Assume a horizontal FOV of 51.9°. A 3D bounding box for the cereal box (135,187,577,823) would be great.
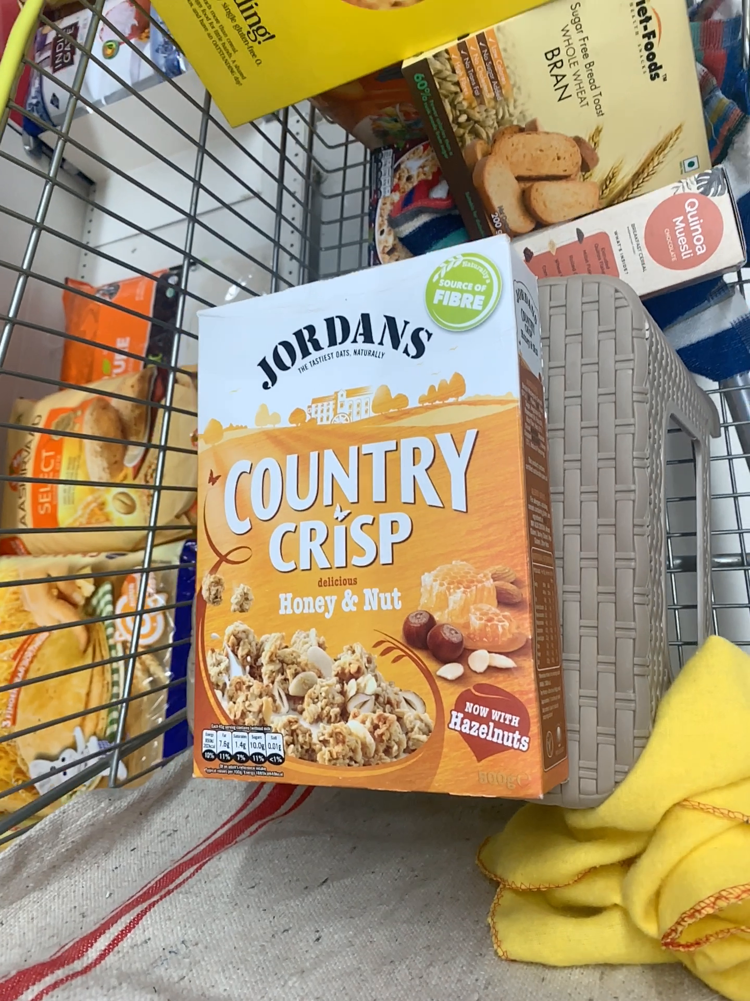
[{"bbox_3d":[-0.014,0.008,0.383,0.191,0.080,0.260,-6,79,23],"label":"cereal box"}]
